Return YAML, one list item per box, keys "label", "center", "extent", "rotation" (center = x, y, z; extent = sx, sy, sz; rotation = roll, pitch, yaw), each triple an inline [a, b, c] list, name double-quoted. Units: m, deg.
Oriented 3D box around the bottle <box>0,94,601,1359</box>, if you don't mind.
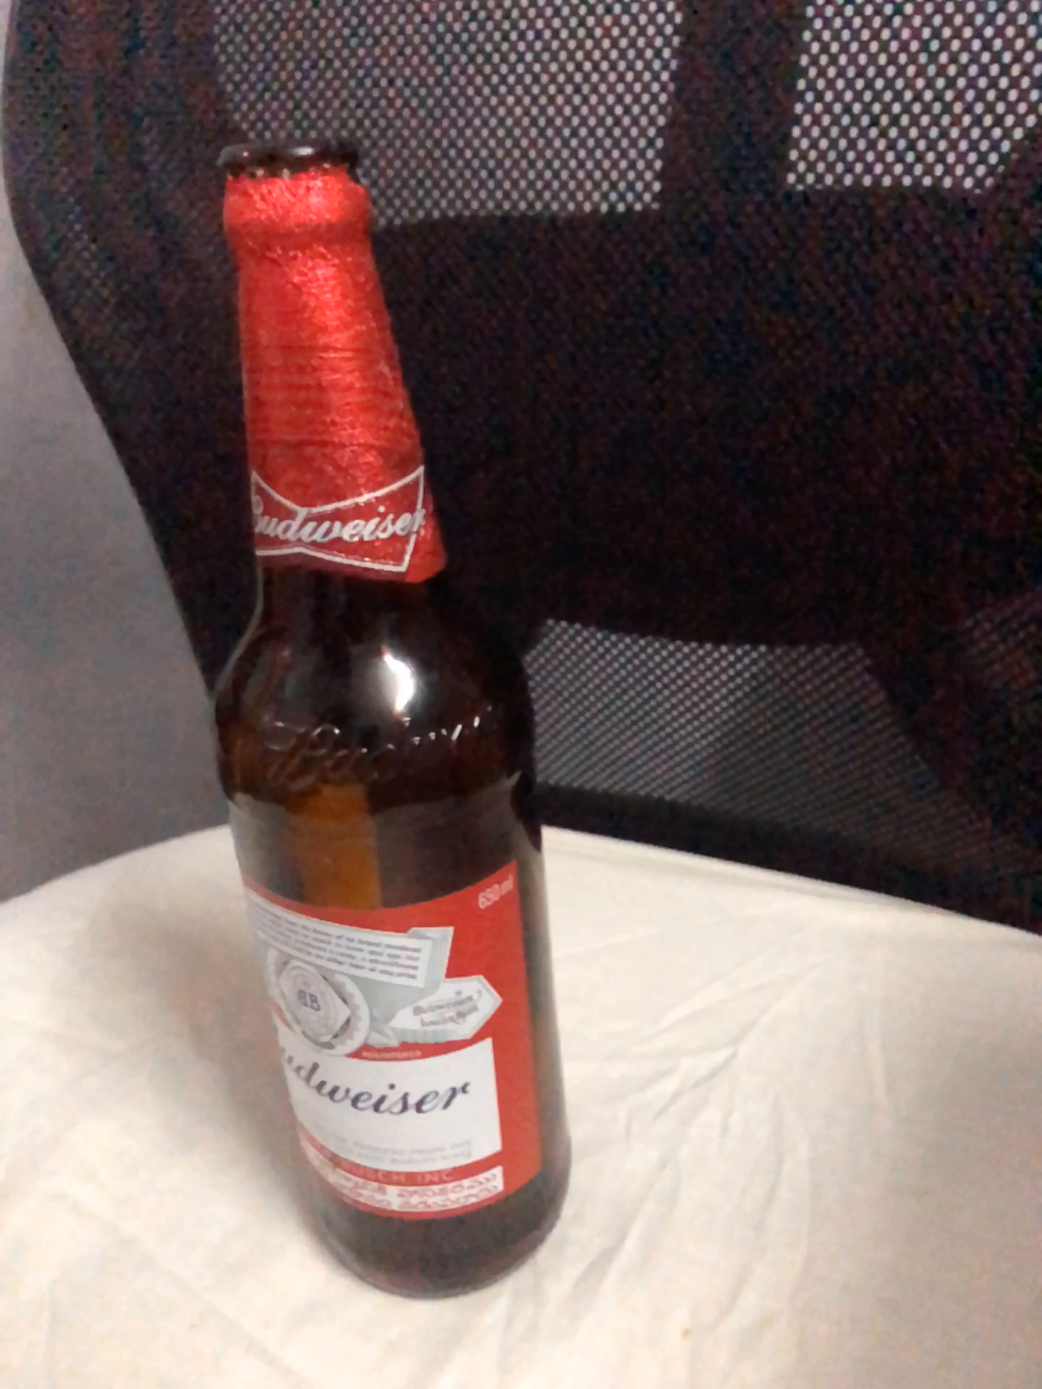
- label: "bottle"
  center: [-0.035, 0.021, 0.259]
  extent: [0.080, 0.269, 0.070]
  rotation: [9, 31, 22]
